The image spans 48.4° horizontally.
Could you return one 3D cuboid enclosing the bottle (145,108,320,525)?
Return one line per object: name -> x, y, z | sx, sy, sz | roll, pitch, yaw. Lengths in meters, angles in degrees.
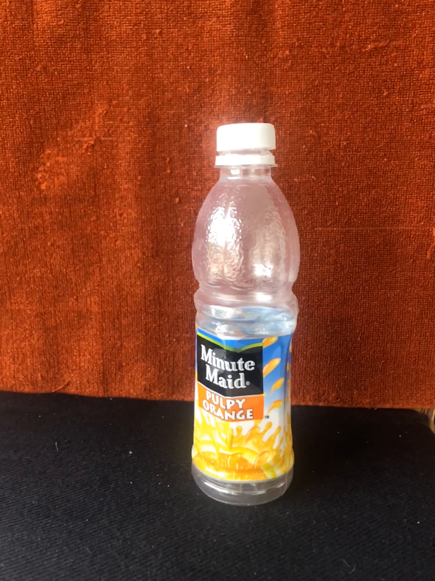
bottle -> 0.008, 0.010, 0.266 | 0.070, 0.199, 0.070 | 2, 13, 0
